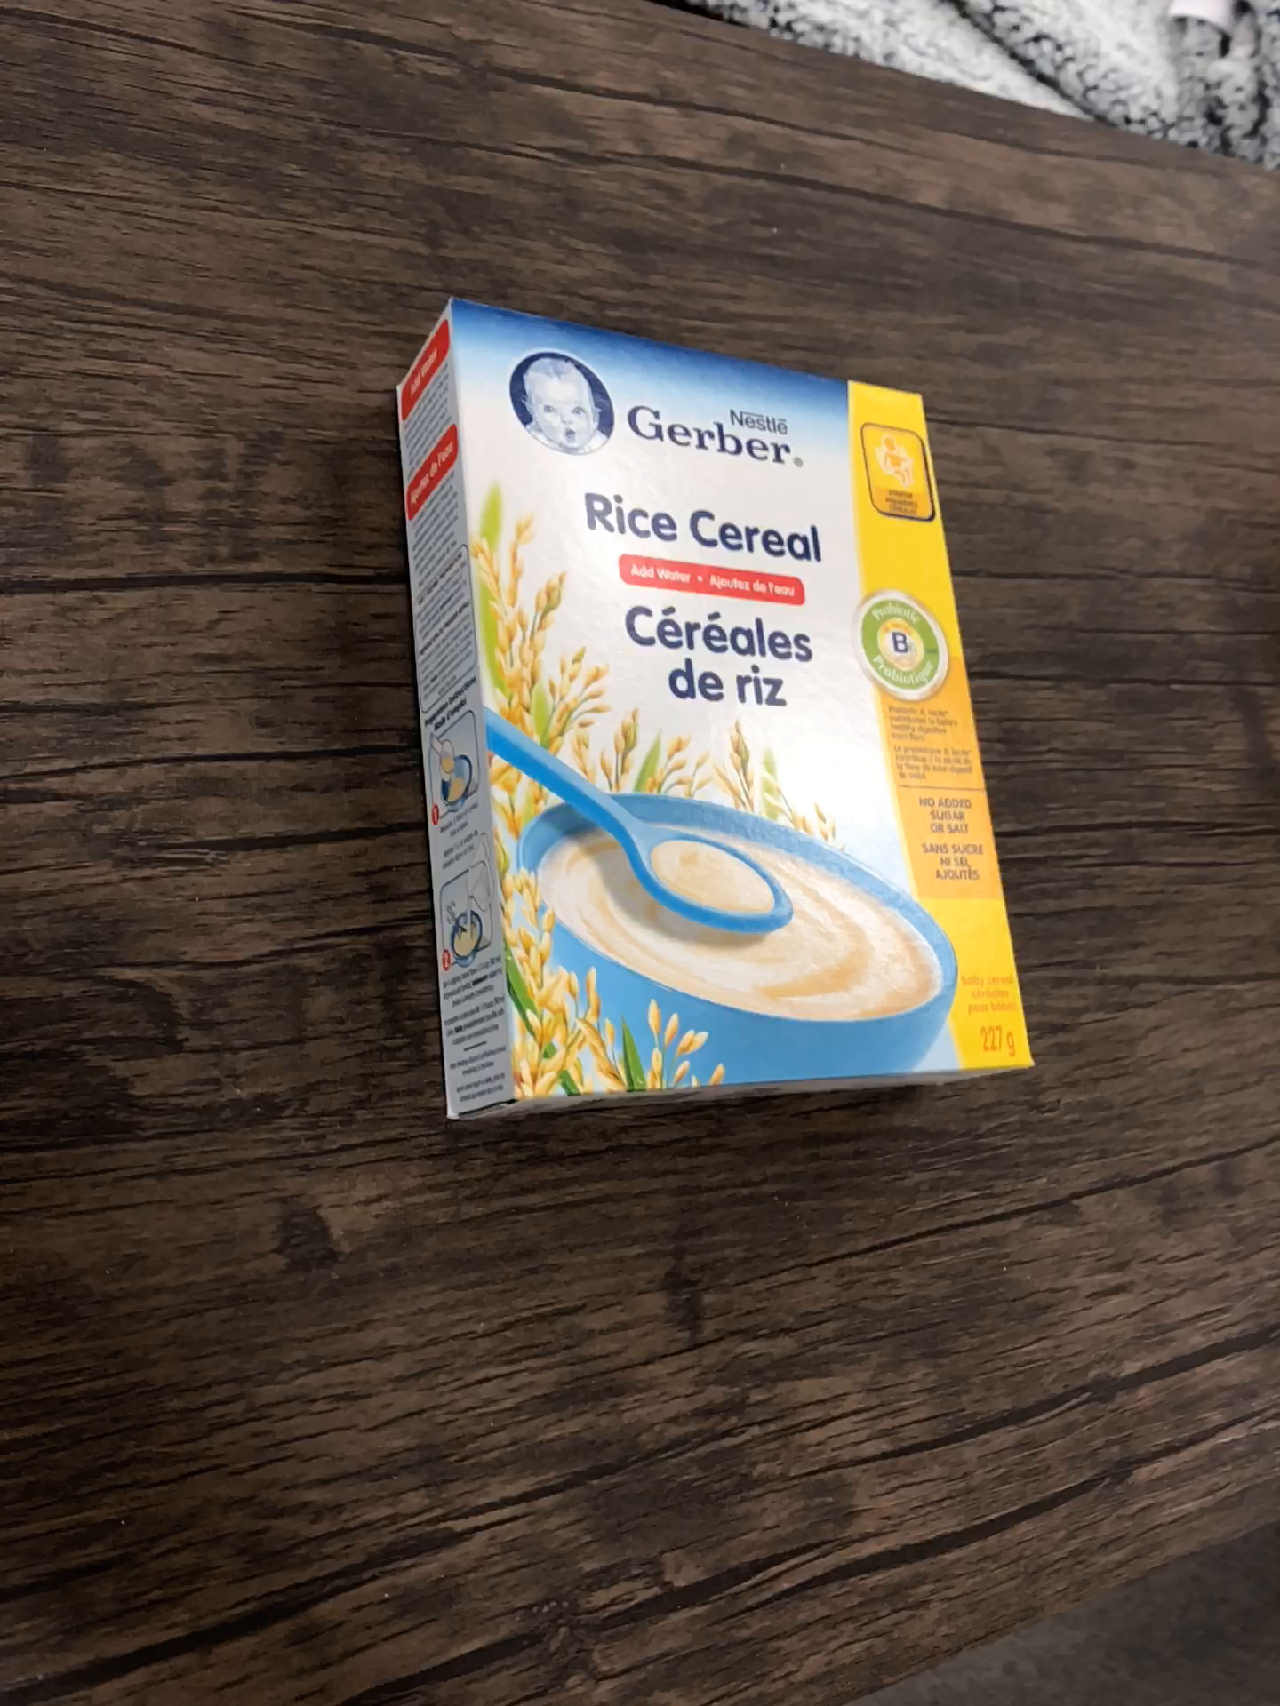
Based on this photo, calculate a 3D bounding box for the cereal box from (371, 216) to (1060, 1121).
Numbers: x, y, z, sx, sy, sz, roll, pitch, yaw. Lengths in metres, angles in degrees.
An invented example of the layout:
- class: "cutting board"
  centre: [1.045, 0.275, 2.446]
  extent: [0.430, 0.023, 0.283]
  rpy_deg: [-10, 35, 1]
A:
- class: "cereal box"
  centre: [0.017, -0.040, 0.360]
  extent: [0.151, 0.050, 0.200]
  rpy_deg: [1, 77, -27]
